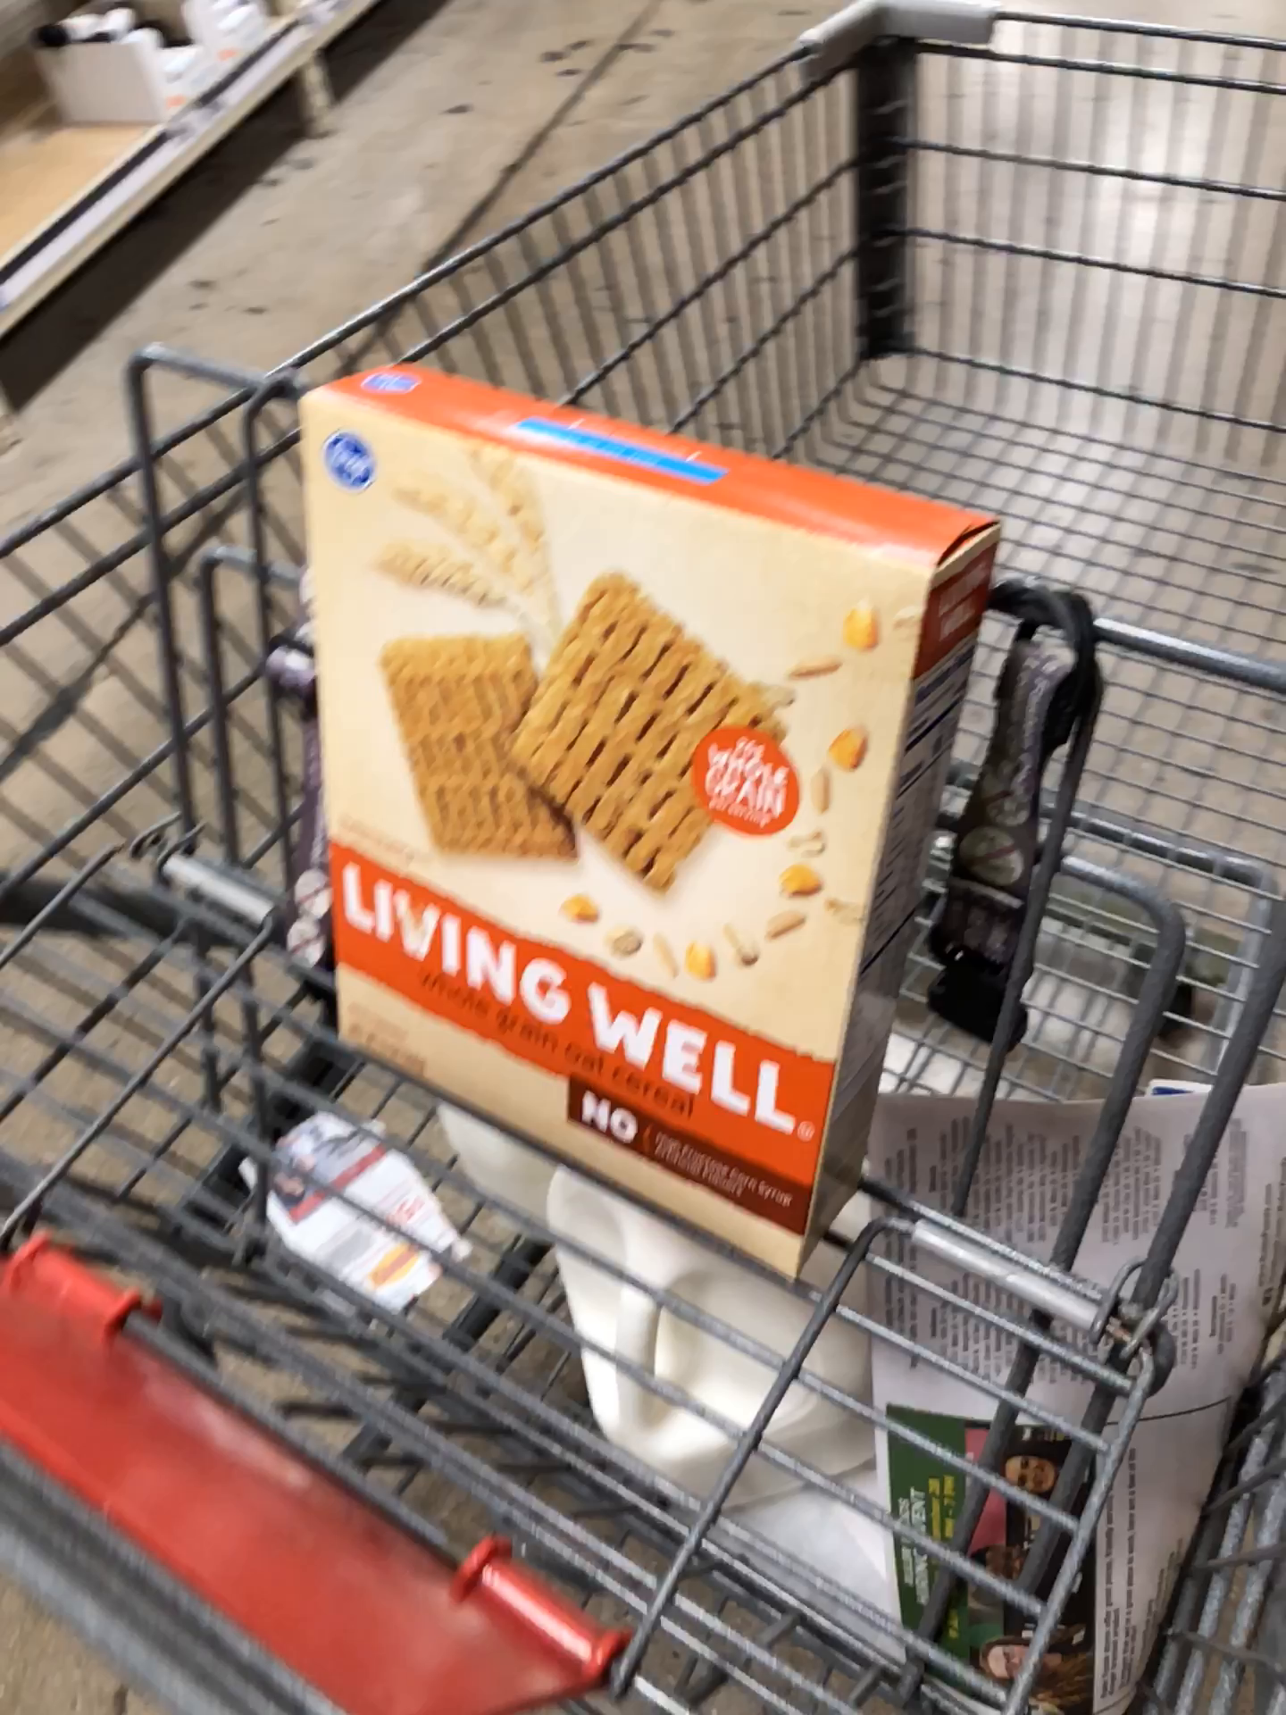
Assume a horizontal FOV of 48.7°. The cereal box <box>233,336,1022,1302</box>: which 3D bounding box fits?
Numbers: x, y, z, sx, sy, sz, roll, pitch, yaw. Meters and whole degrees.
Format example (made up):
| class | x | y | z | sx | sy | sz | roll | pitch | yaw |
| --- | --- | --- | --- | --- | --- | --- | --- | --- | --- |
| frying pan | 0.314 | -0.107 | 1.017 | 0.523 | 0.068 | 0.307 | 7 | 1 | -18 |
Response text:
| class | x | y | z | sx | sy | sz | roll | pitch | yaw |
| --- | --- | --- | --- | --- | --- | --- | --- | --- | --- |
| cereal box | -0.018 | -0.012 | 0.439 | 0.210 | 0.240 | 0.060 | 23 | 38 | 26 |
